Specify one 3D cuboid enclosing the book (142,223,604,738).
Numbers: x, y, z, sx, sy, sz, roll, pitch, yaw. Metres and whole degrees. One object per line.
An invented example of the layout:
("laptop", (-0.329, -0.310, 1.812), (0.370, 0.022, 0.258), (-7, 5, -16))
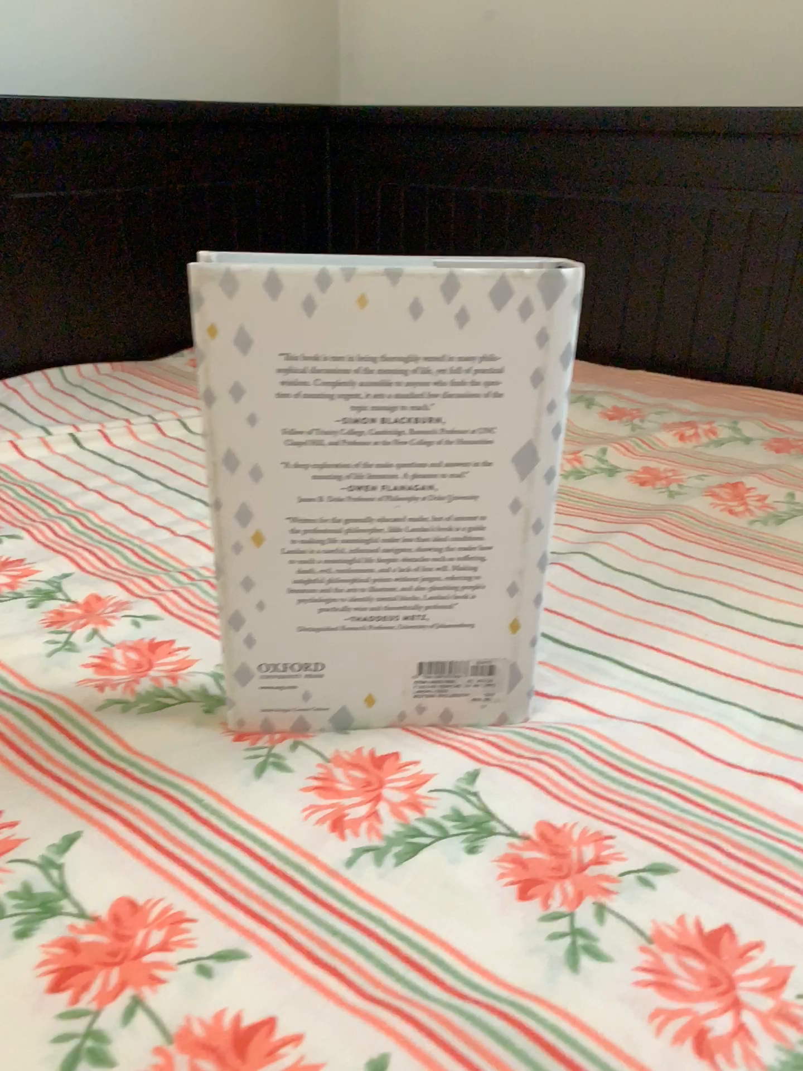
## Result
("book", (-0.011, -0.013, 0.349), (0.160, 0.218, 0.030), (-1, 27, -4))
